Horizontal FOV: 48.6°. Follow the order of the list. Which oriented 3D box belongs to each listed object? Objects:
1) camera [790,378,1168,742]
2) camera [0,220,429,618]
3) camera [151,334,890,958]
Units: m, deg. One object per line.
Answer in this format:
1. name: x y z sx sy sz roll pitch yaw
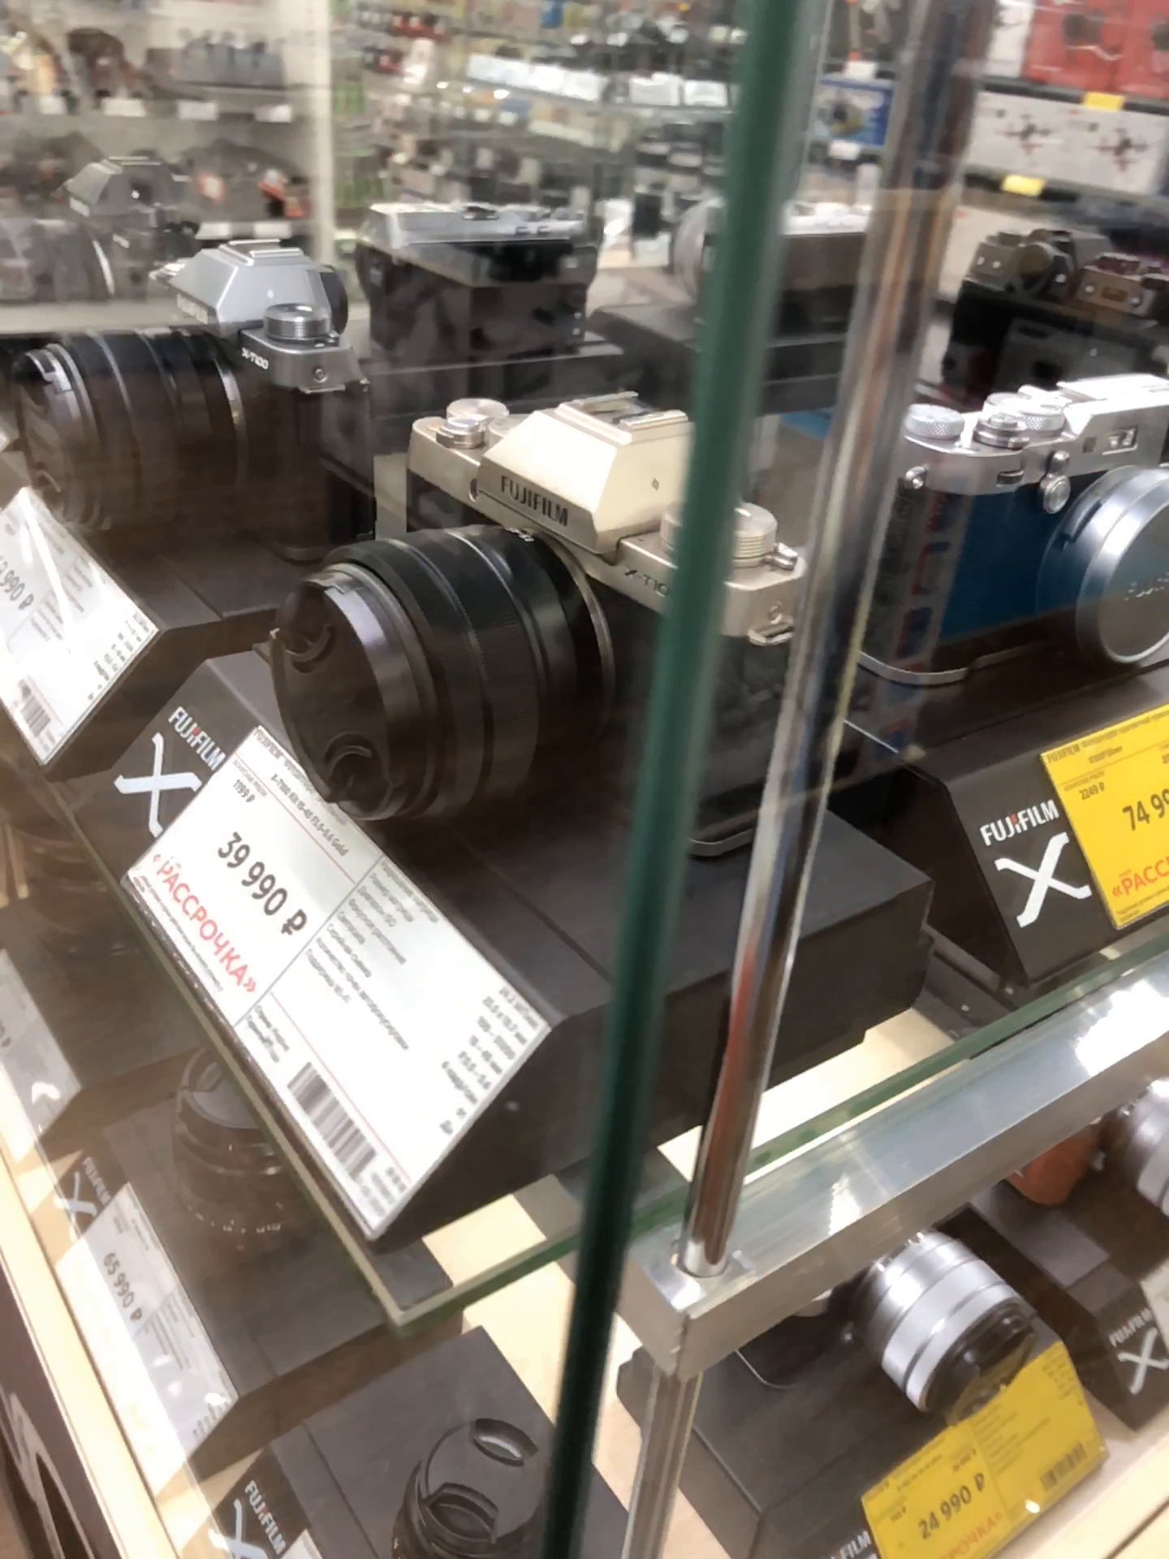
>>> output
1. camera: 0.135 -0.070 0.387 0.132 0.076 0.055 -15 36 -31
2. camera: -0.133 -0.129 0.434 0.102 0.086 0.141 -17 37 -33
3. camera: -0.021 -0.043 0.297 0.100 0.080 0.132 -18 38 -34
